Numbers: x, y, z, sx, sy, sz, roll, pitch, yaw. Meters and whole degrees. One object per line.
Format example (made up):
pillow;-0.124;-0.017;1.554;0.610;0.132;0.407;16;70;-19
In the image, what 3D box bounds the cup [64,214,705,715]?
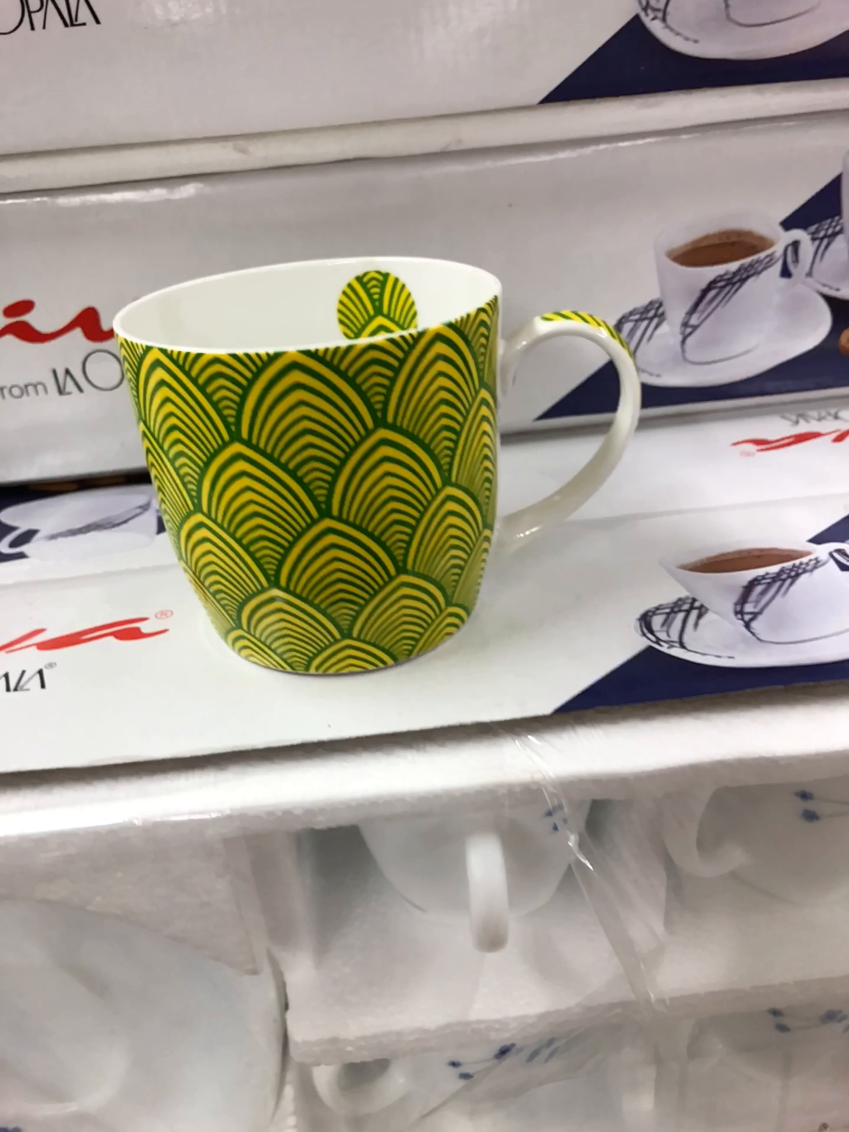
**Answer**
cup;-0.010;-0.032;0.234;0.120;0.079;0.091;-8;29;-7
